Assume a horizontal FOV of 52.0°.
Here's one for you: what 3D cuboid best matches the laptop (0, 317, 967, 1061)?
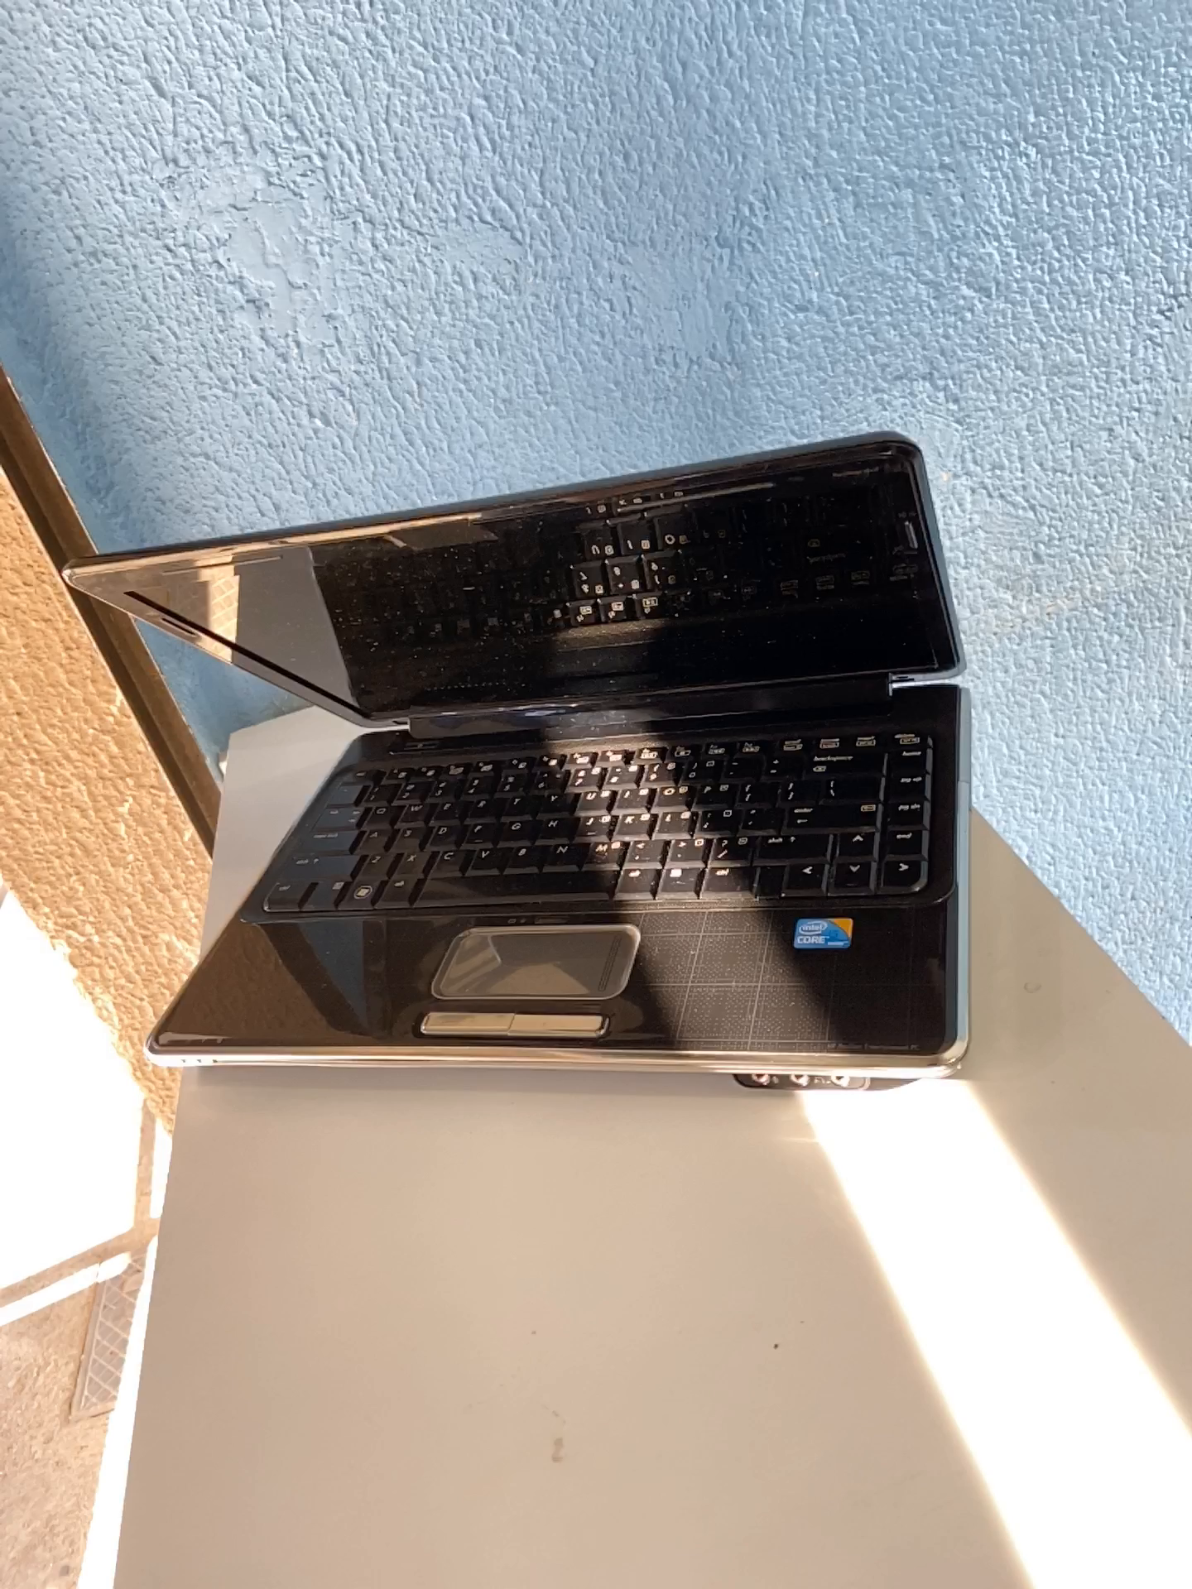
[{"bbox_3d":[-0.028,-0.041,0.493,0.325,0.165,0.226,-4,35,20],"label":"laptop"}]
